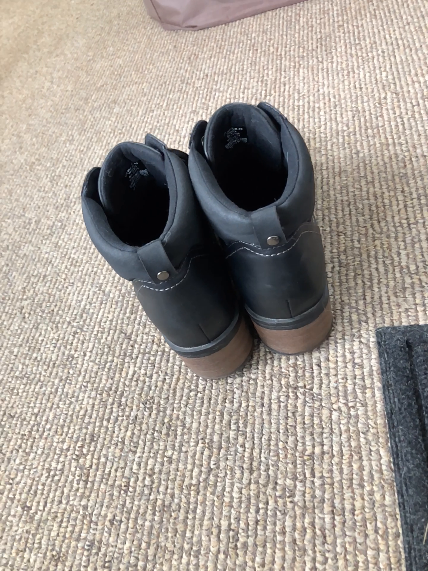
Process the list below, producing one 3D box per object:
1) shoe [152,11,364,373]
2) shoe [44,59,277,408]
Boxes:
[{"bbox_3d":[0.031,-0.092,0.417,0.094,0.162,0.274,-18,48,7],"label":"shoe"},{"bbox_3d":[-0.056,-0.057,0.428,0.097,0.165,0.268,-25,48,1],"label":"shoe"}]
